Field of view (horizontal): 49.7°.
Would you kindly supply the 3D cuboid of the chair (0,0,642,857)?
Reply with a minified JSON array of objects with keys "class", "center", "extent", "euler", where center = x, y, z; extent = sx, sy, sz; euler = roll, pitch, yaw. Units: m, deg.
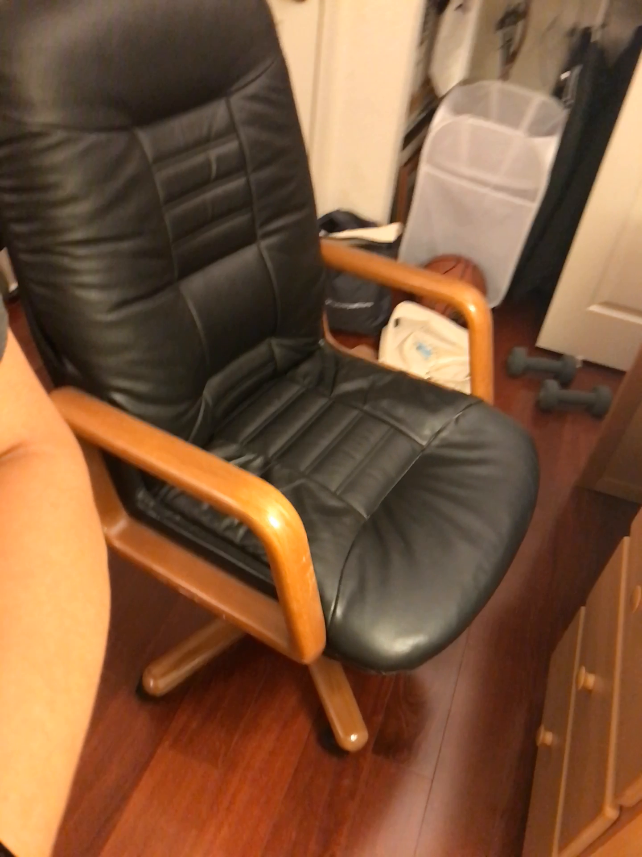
[{"class":"chair","center":[0.039,-0.081,1.239],"extent":[0.851,1.141,0.997],"euler":[28,48,20]}]
